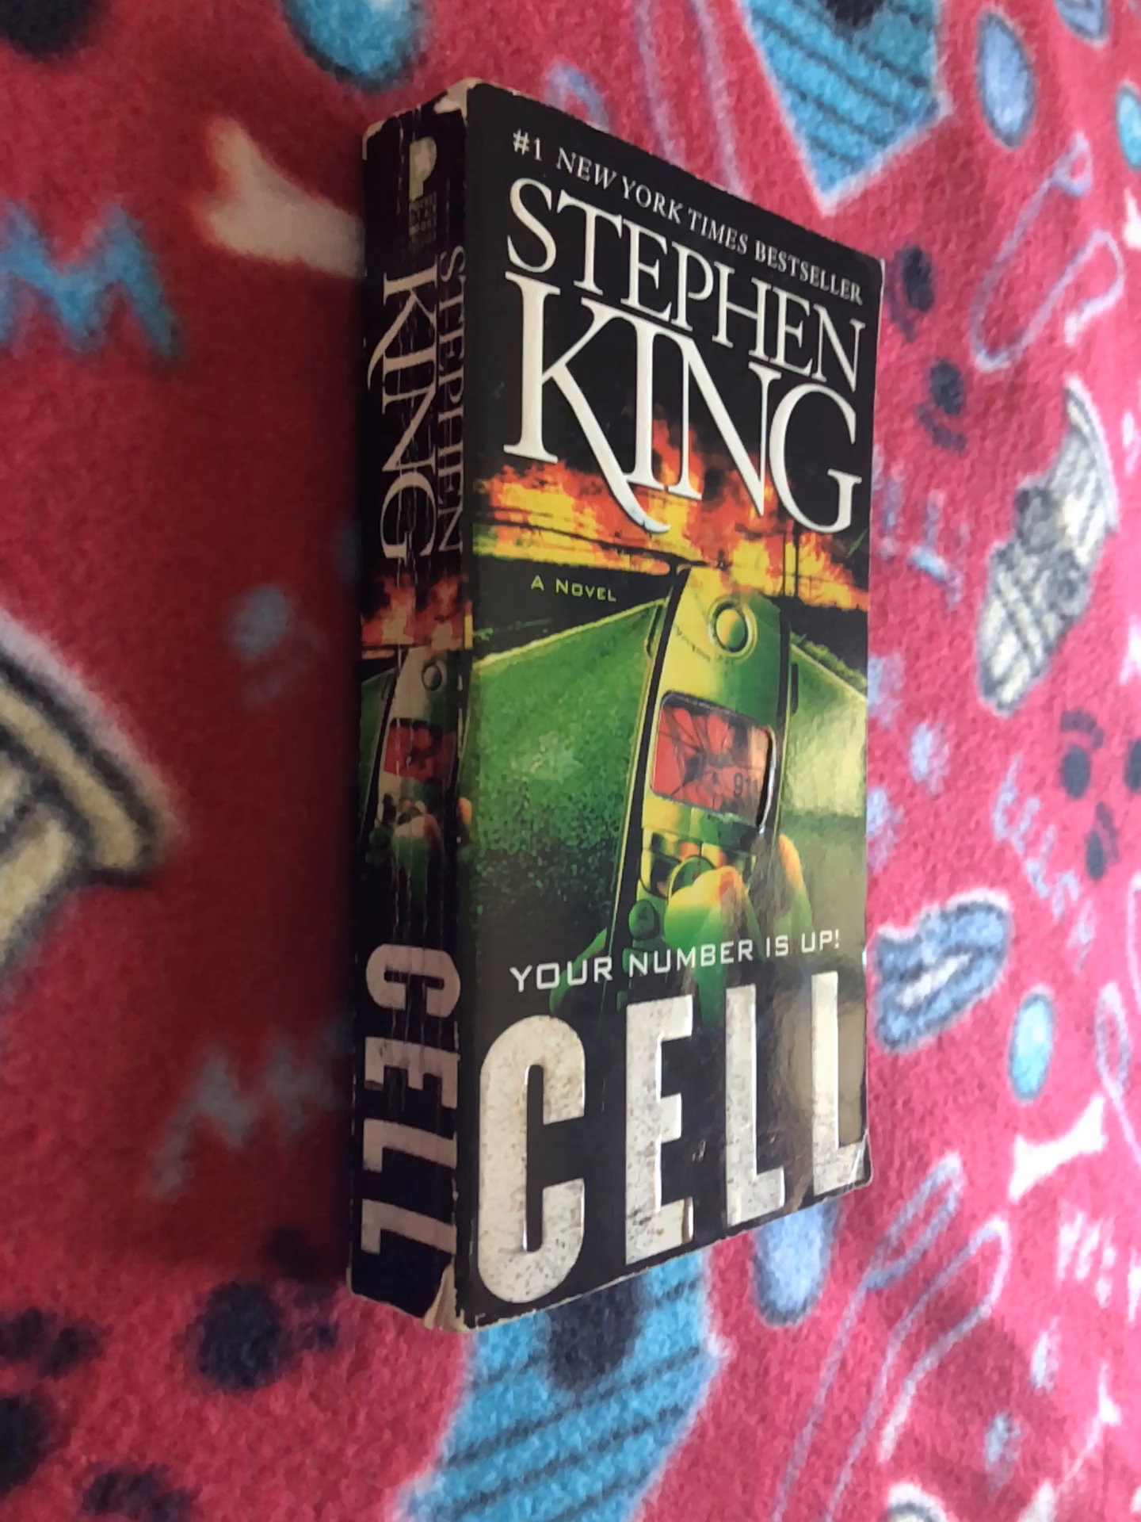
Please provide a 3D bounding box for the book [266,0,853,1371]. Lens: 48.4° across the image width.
[{"bbox_3d":[0.006,-0.015,0.231,0.121,0.030,0.200,2,88,-47],"label":"book"}]
